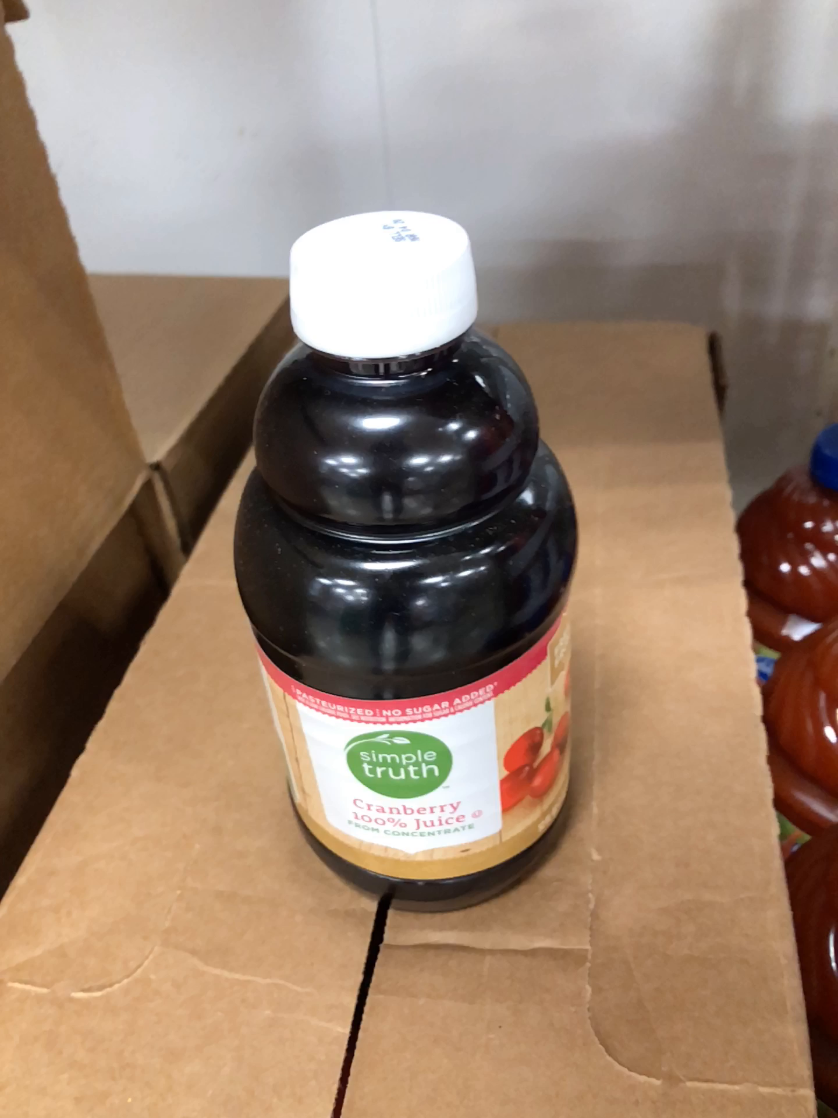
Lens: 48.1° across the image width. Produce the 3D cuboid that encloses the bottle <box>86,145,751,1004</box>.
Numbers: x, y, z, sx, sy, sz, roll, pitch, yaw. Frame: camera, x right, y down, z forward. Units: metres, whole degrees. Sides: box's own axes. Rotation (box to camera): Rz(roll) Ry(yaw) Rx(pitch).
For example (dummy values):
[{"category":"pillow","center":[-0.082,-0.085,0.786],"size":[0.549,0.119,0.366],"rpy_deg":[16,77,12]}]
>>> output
[{"category":"bottle","center":[0.004,0.008,0.271],"size":[0.110,0.200,0.100],"rpy_deg":[-3,39,3]}]

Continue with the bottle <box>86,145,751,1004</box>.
[{"category":"bottle","center":[0.004,0.008,0.271],"size":[0.110,0.200,0.100],"rpy_deg":[-3,39,3]}]
